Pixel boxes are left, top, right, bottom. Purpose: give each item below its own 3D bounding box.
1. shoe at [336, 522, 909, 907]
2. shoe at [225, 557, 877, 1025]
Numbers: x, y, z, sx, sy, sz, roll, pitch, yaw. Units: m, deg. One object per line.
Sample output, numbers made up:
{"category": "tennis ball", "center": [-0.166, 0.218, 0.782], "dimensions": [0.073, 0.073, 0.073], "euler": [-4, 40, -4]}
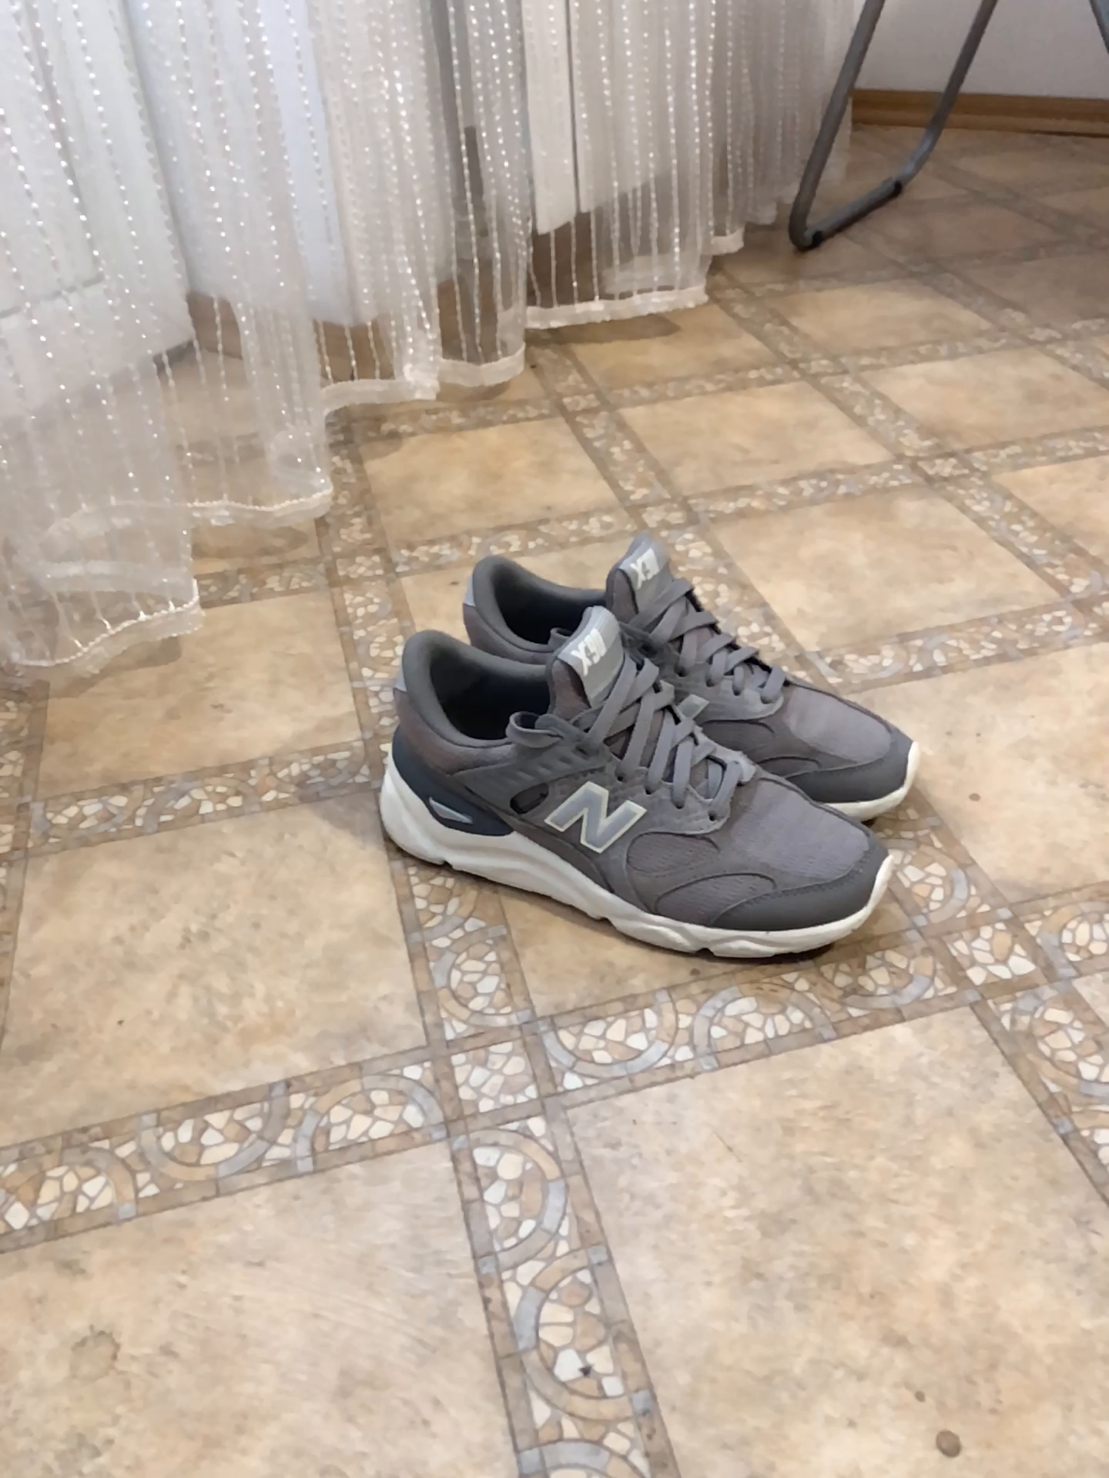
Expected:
{"category": "shoe", "center": [0.035, -0.021, 0.647], "dimensions": [0.270, 0.119, 0.101], "euler": [12, 39, 21]}
{"category": "shoe", "center": [-0.003, 0.014, 0.568], "dimensions": [0.270, 0.119, 0.101], "euler": [14, 40, 24]}
